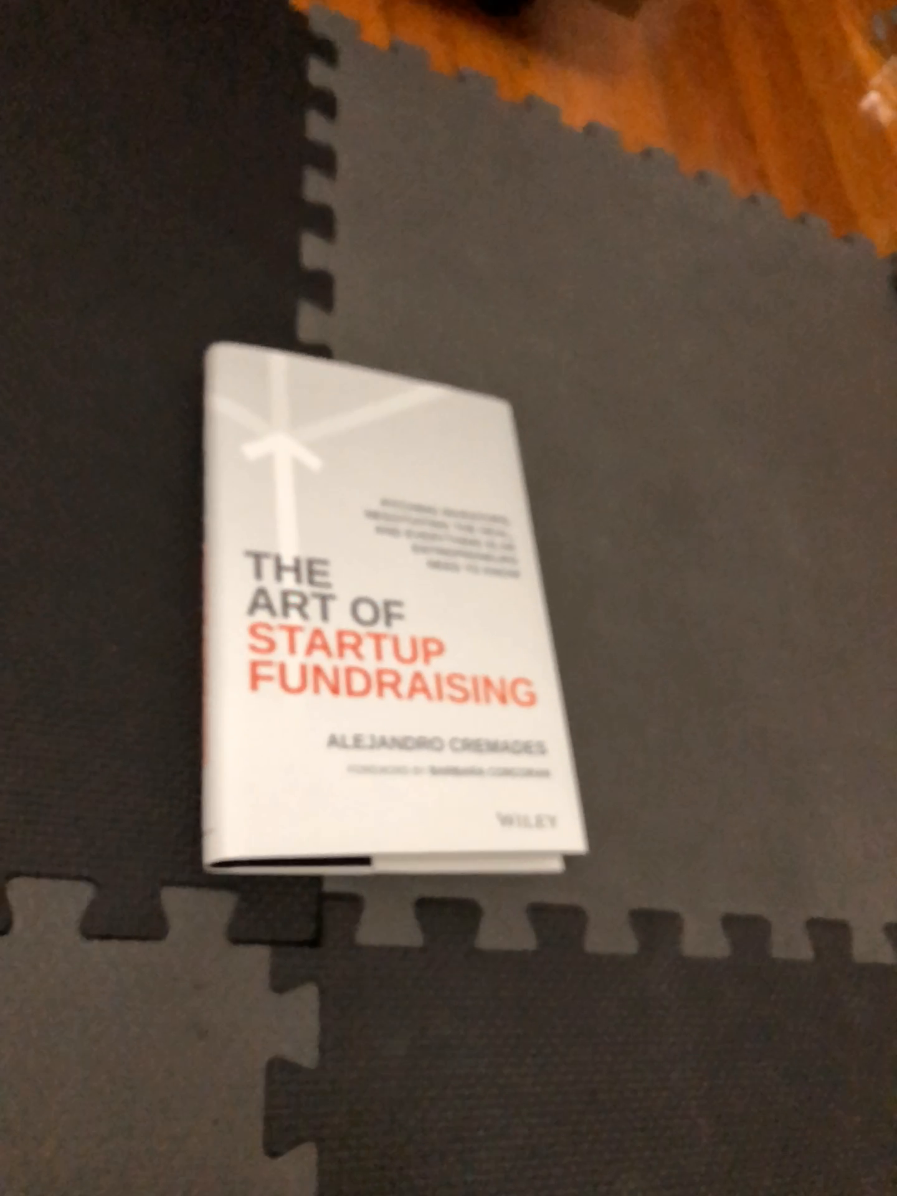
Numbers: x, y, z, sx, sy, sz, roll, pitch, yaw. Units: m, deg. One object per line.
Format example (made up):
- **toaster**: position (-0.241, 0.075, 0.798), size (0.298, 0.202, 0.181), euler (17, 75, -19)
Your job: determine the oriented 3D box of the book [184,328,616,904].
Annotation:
- **book**: position (-0.026, 0.004, 0.451), size (0.170, 0.030, 0.251), euler (8, 59, -25)
